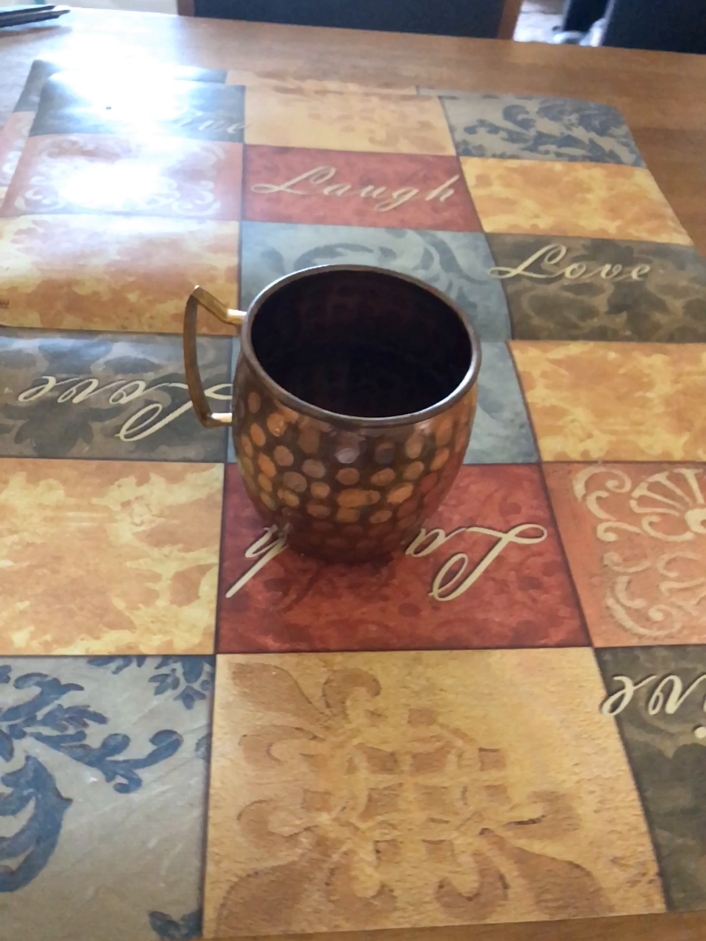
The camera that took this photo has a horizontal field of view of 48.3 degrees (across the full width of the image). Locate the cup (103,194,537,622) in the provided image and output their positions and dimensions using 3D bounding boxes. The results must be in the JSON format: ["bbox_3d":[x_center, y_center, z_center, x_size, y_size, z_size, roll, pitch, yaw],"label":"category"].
[{"bbox_3d":[-0.012,-0.028,0.315,0.120,0.090,0.100,27,52,15],"label":"cup"}]
